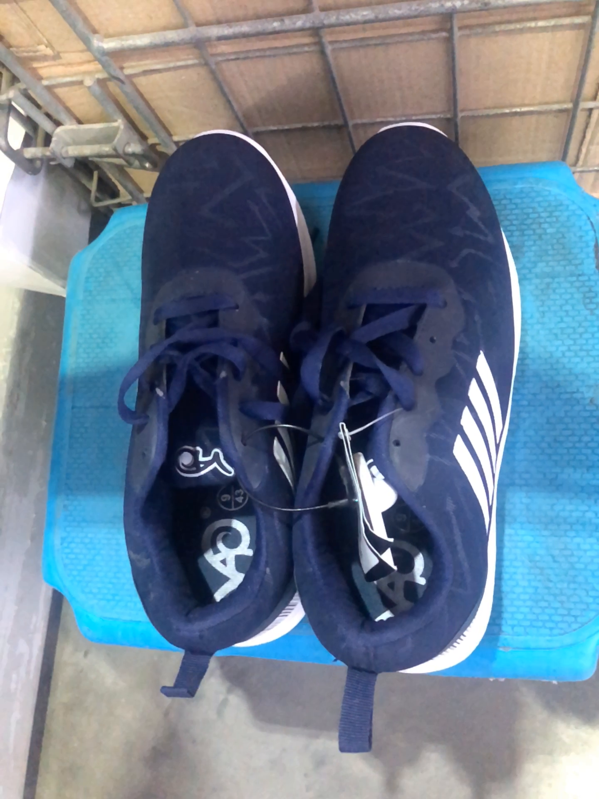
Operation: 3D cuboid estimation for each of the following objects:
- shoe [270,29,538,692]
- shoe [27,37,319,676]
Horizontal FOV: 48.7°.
[{"bbox_3d":[0.049,-0.017,0.322,0.100,0.100,0.270,-3,79,14],"label":"shoe"},{"bbox_3d":[-0.053,-0.018,0.330,0.100,0.100,0.270,-4,79,13],"label":"shoe"}]
